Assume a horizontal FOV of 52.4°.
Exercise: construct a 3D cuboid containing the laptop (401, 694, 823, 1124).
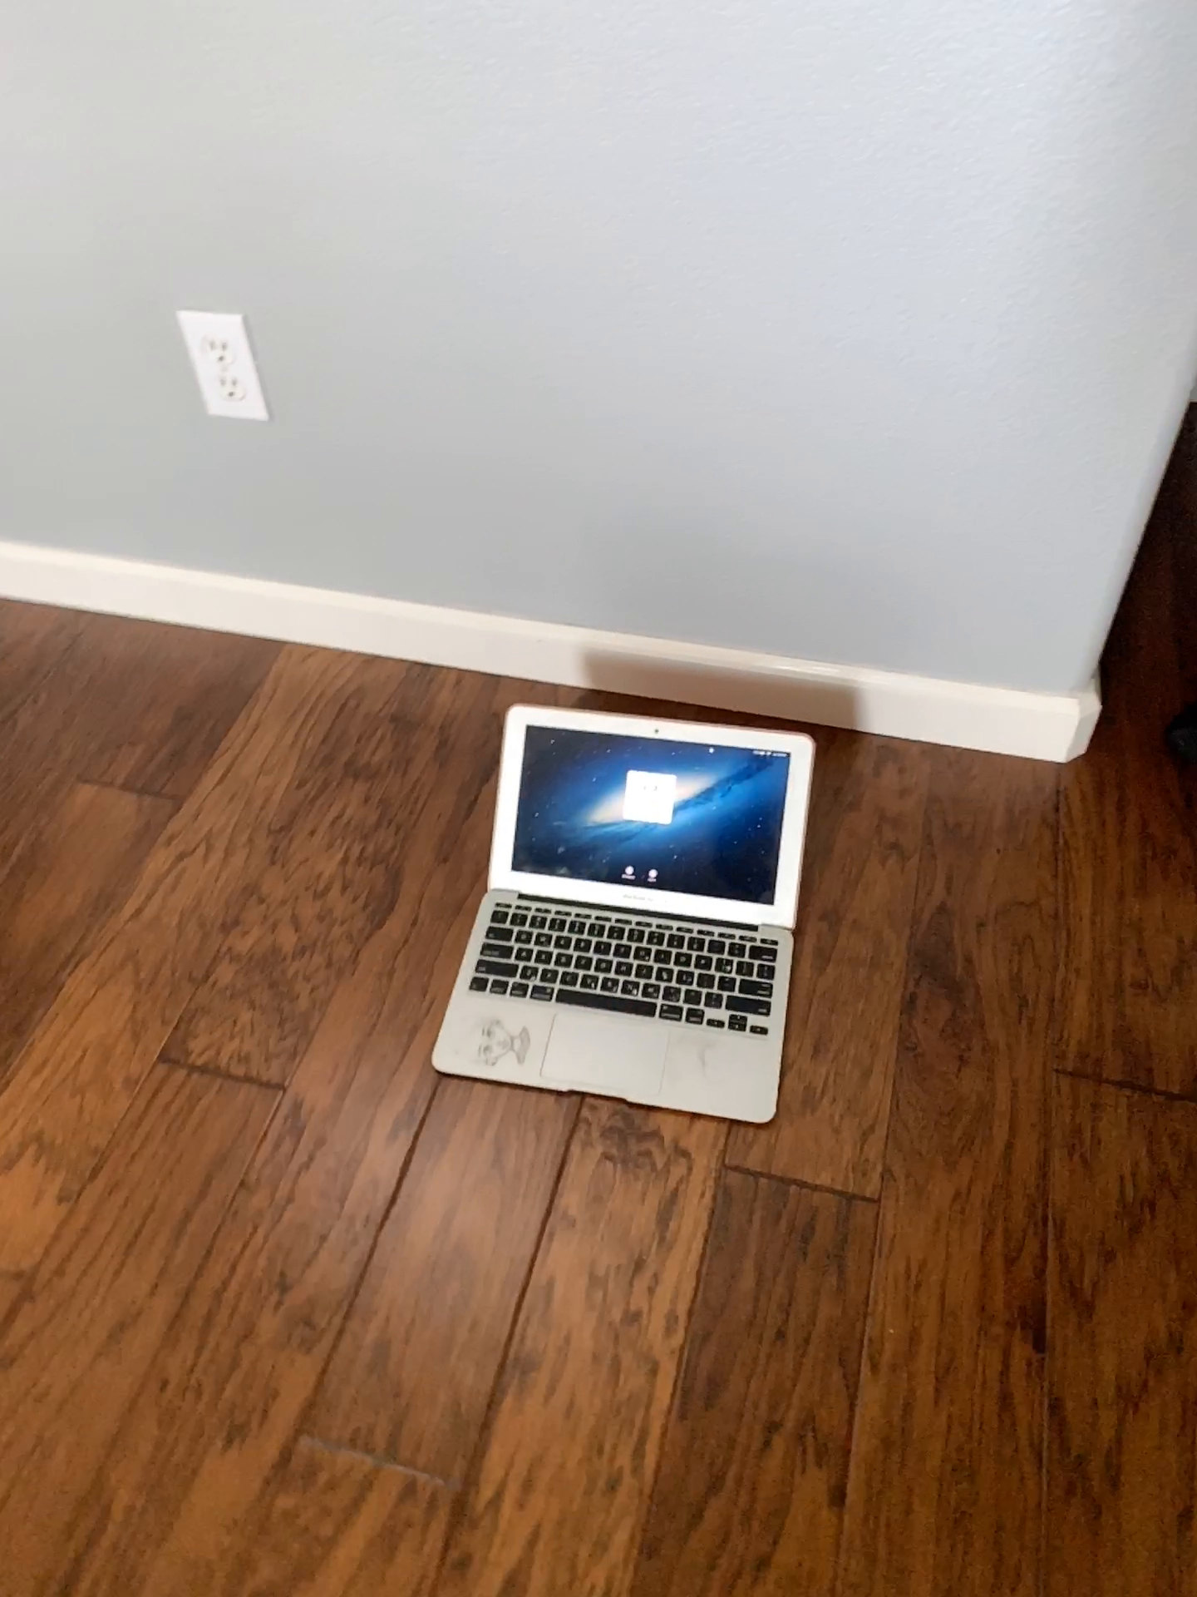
[{"bbox_3d":[0.026,0.081,1.058,0.292,0.117,0.324,7,51,11],"label":"laptop"}]
